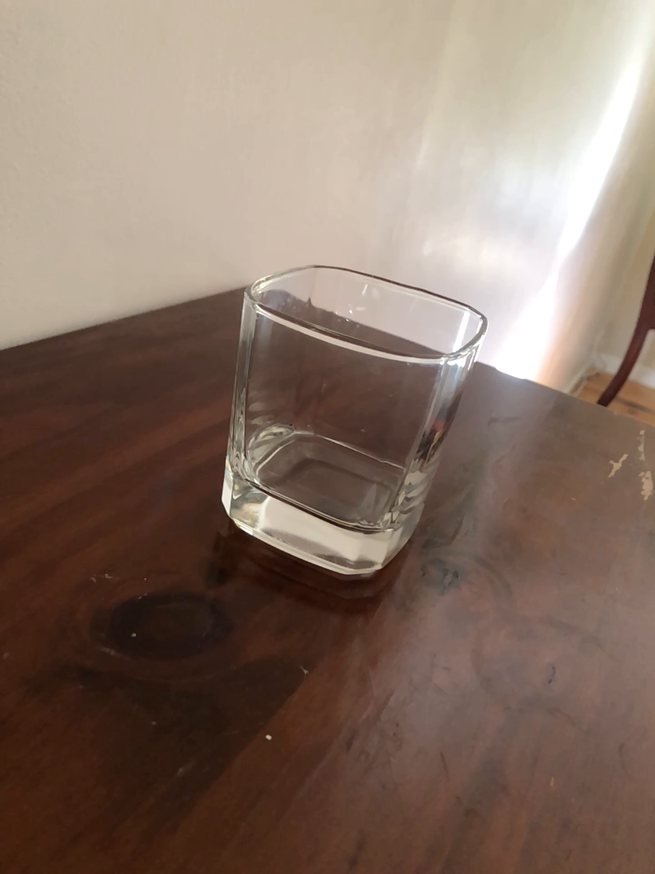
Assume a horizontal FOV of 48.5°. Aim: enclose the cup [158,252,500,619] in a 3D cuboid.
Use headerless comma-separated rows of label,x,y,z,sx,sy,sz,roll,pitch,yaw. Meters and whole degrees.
cup,0.002,-0.008,0.262,0.080,0.085,0.087,10,26,-5
